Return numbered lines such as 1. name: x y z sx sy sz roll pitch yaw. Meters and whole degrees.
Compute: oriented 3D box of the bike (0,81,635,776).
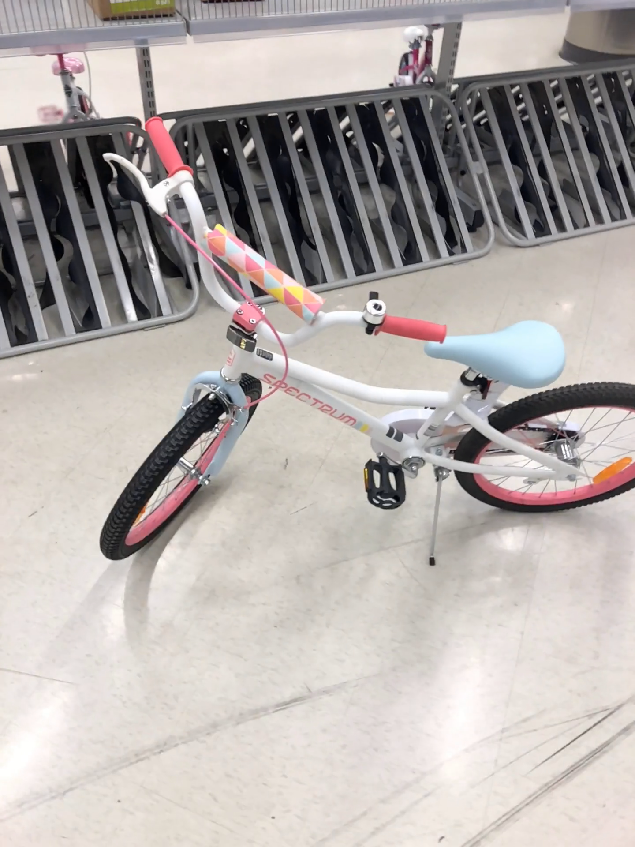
1. bike: 0.199 0.011 1.311 1.251 0.962 0.635 -7 44 -9
